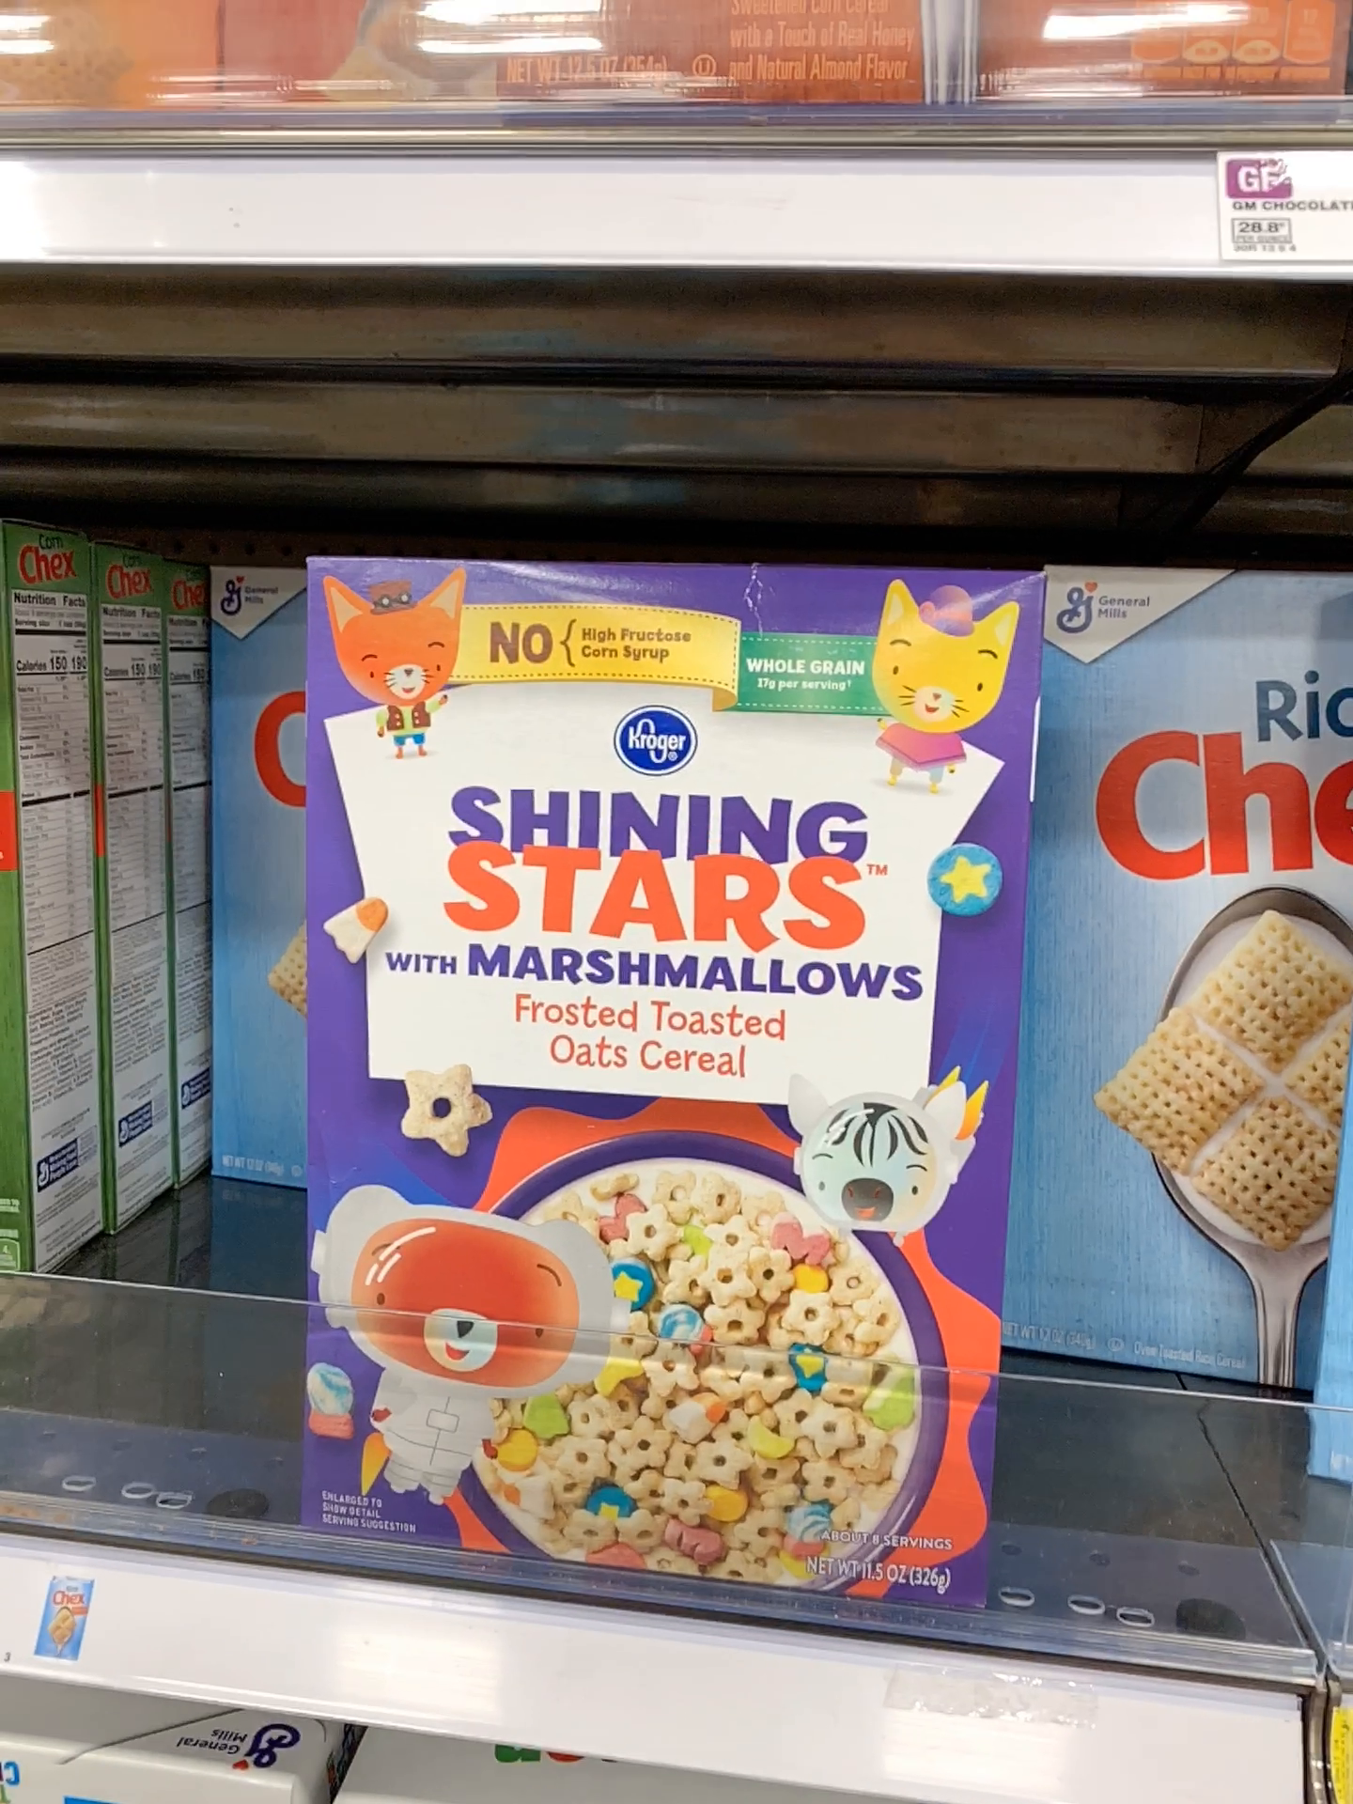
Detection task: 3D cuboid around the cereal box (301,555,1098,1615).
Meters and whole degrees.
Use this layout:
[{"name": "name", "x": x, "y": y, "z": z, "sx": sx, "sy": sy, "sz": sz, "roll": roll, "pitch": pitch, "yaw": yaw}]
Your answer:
[{"name": "cereal box", "x": 0.002, "y": 0.046, "z": 0.387, "sx": 0.200, "sy": 0.270, "sz": 0.050, "roll": 2, "pitch": 6, "yaw": 6}]
